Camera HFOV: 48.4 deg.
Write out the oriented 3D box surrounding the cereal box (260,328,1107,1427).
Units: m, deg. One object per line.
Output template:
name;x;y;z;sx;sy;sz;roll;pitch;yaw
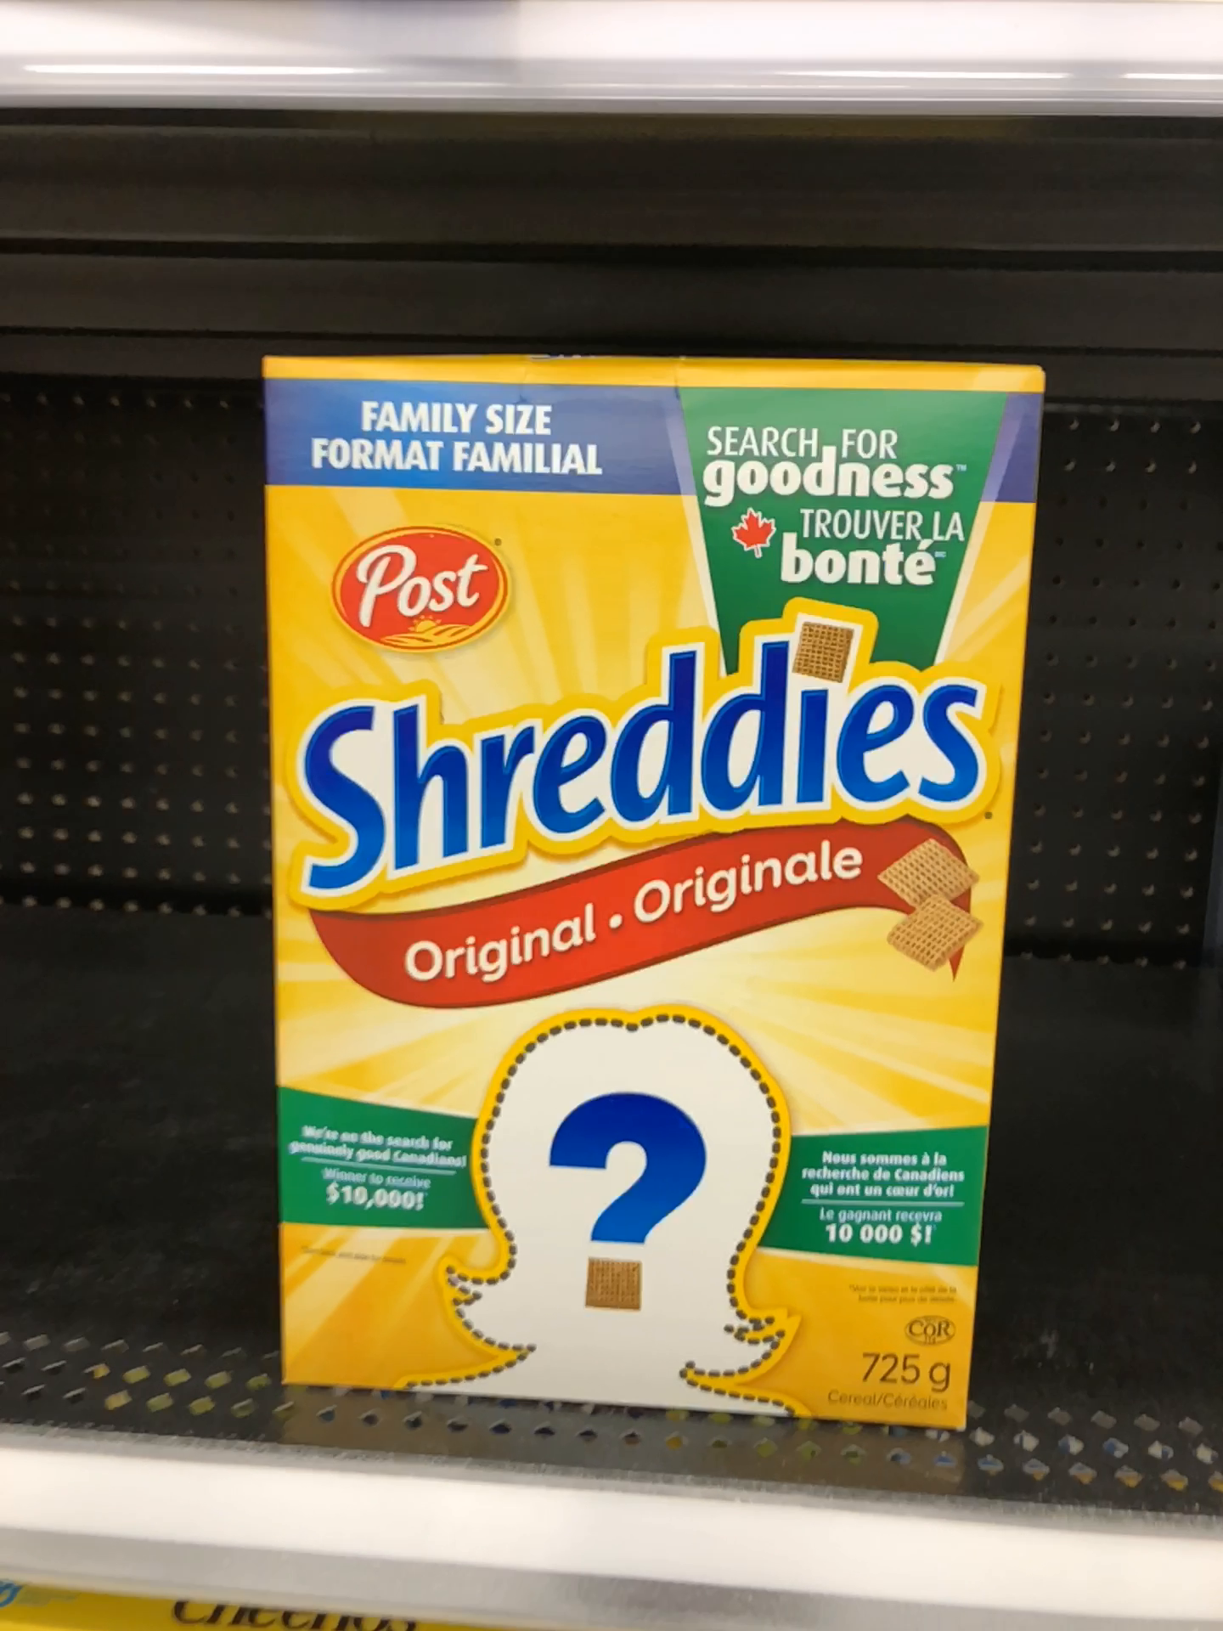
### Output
cereal box;0.014;0.017;0.396;0.210;0.289;0.070;2;10;4
